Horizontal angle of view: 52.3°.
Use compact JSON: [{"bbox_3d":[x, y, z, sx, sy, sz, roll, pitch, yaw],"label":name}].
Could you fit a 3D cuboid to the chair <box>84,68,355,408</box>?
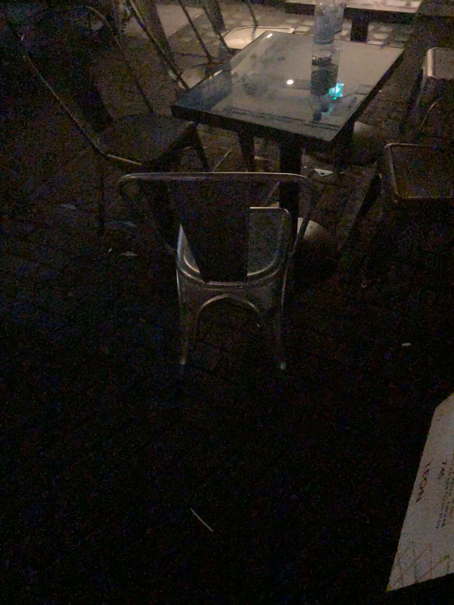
[{"bbox_3d":[0.005,-0.160,1.322,0.500,0.723,0.606,-2,47,2],"label":"chair"}]
